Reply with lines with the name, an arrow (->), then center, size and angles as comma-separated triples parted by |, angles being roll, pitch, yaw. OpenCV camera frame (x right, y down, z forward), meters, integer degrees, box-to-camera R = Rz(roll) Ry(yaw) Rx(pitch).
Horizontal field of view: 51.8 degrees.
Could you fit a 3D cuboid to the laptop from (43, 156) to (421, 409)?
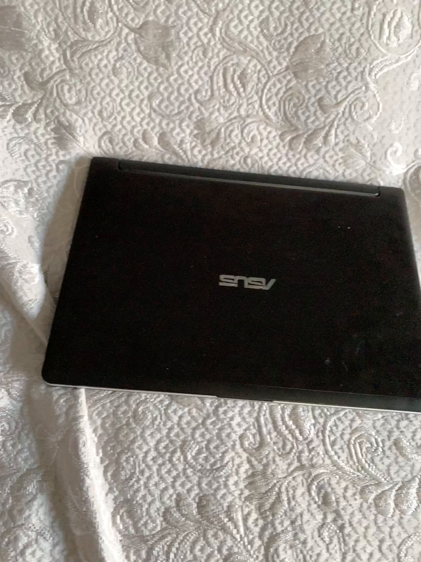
laptop -> 0.037, -0.010, 0.414 | 0.333, 0.001, 0.233 | 5, 65, -4
